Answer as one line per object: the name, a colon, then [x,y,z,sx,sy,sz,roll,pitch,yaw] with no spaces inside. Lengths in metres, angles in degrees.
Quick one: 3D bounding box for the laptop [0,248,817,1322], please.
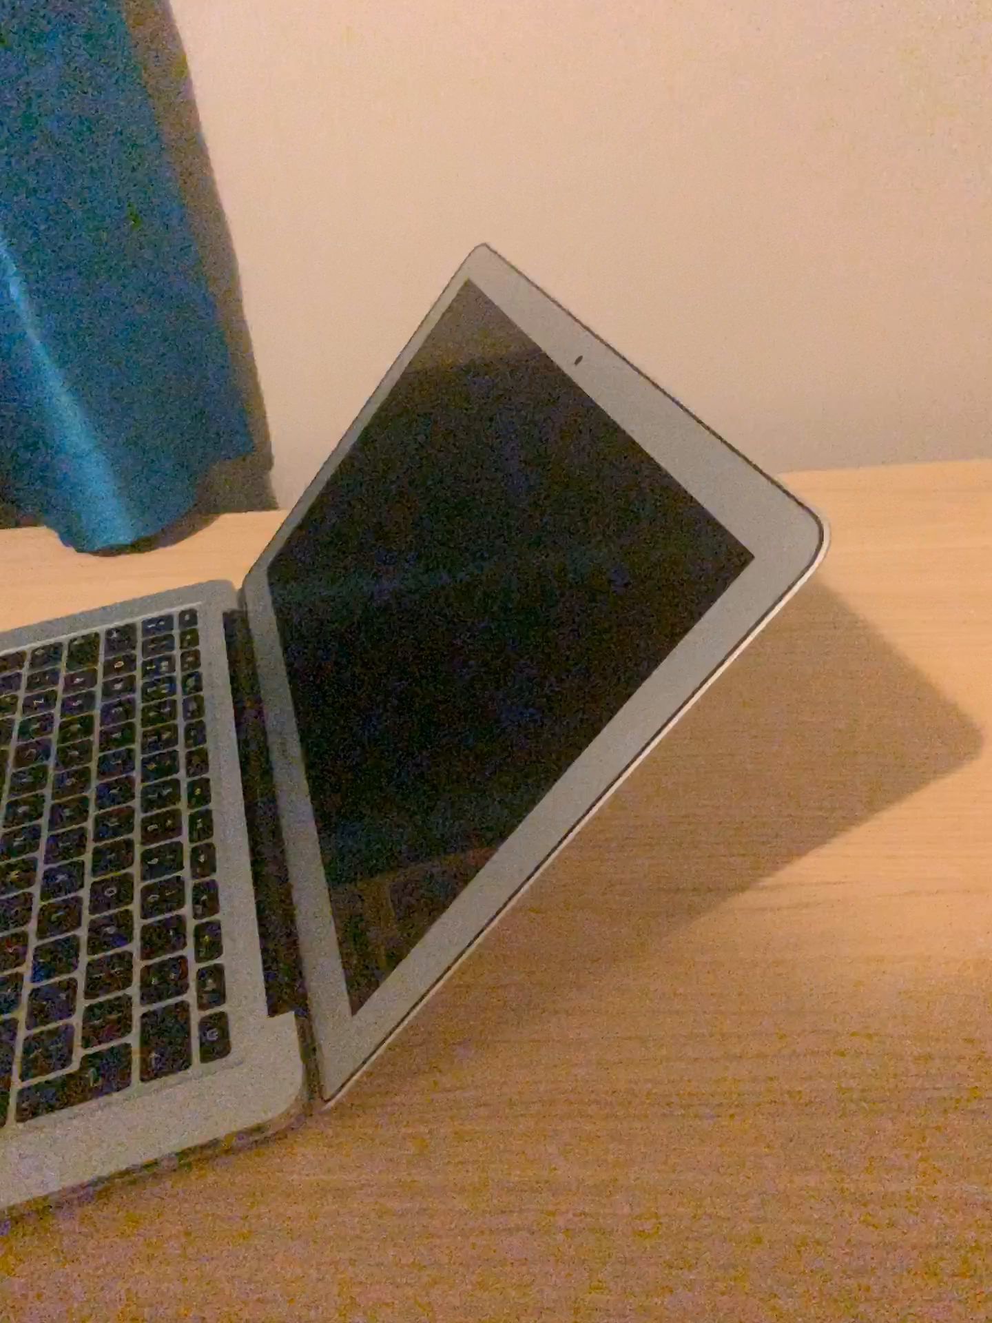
laptop: [-0.135,-0.007,0.367,0.368,0.144,0.304,-14,36,-10]
